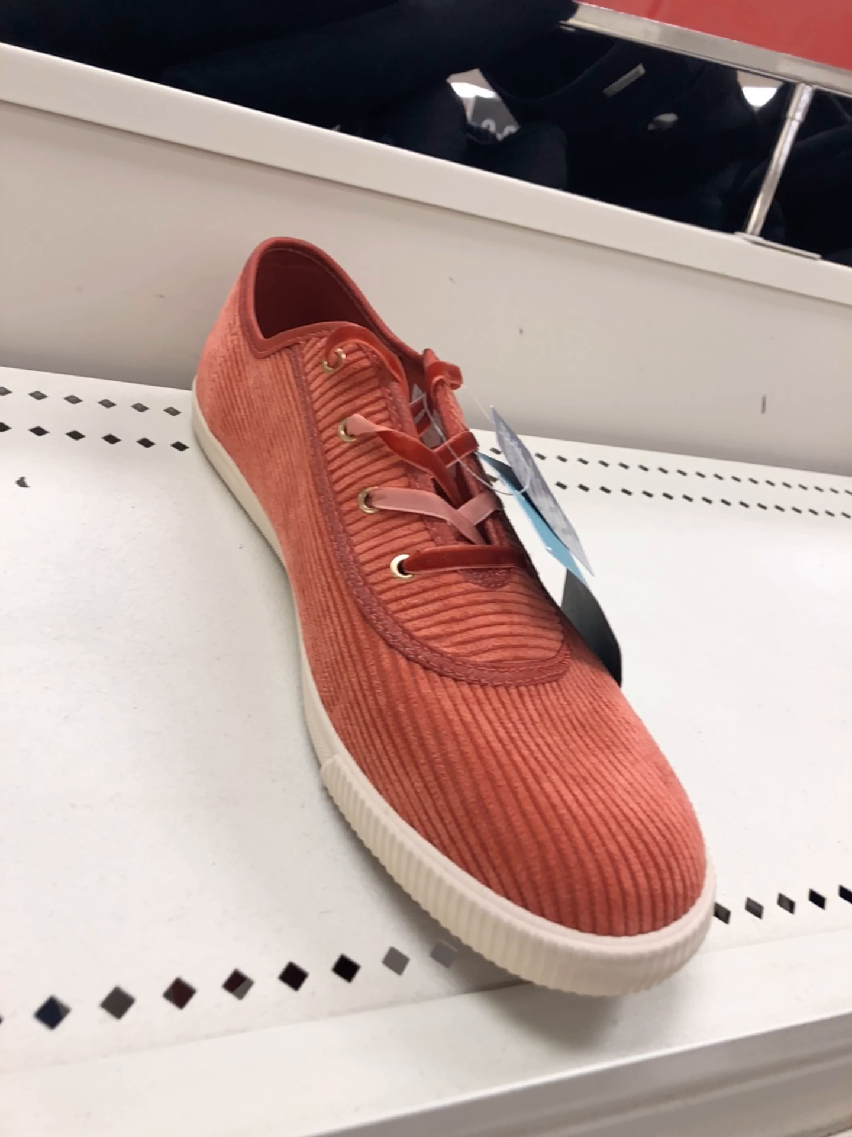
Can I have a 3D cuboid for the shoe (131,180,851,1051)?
[{"bbox_3d":[-0.009,-0.028,0.315,0.100,0.089,0.322,1,34,-31],"label":"shoe"}]
